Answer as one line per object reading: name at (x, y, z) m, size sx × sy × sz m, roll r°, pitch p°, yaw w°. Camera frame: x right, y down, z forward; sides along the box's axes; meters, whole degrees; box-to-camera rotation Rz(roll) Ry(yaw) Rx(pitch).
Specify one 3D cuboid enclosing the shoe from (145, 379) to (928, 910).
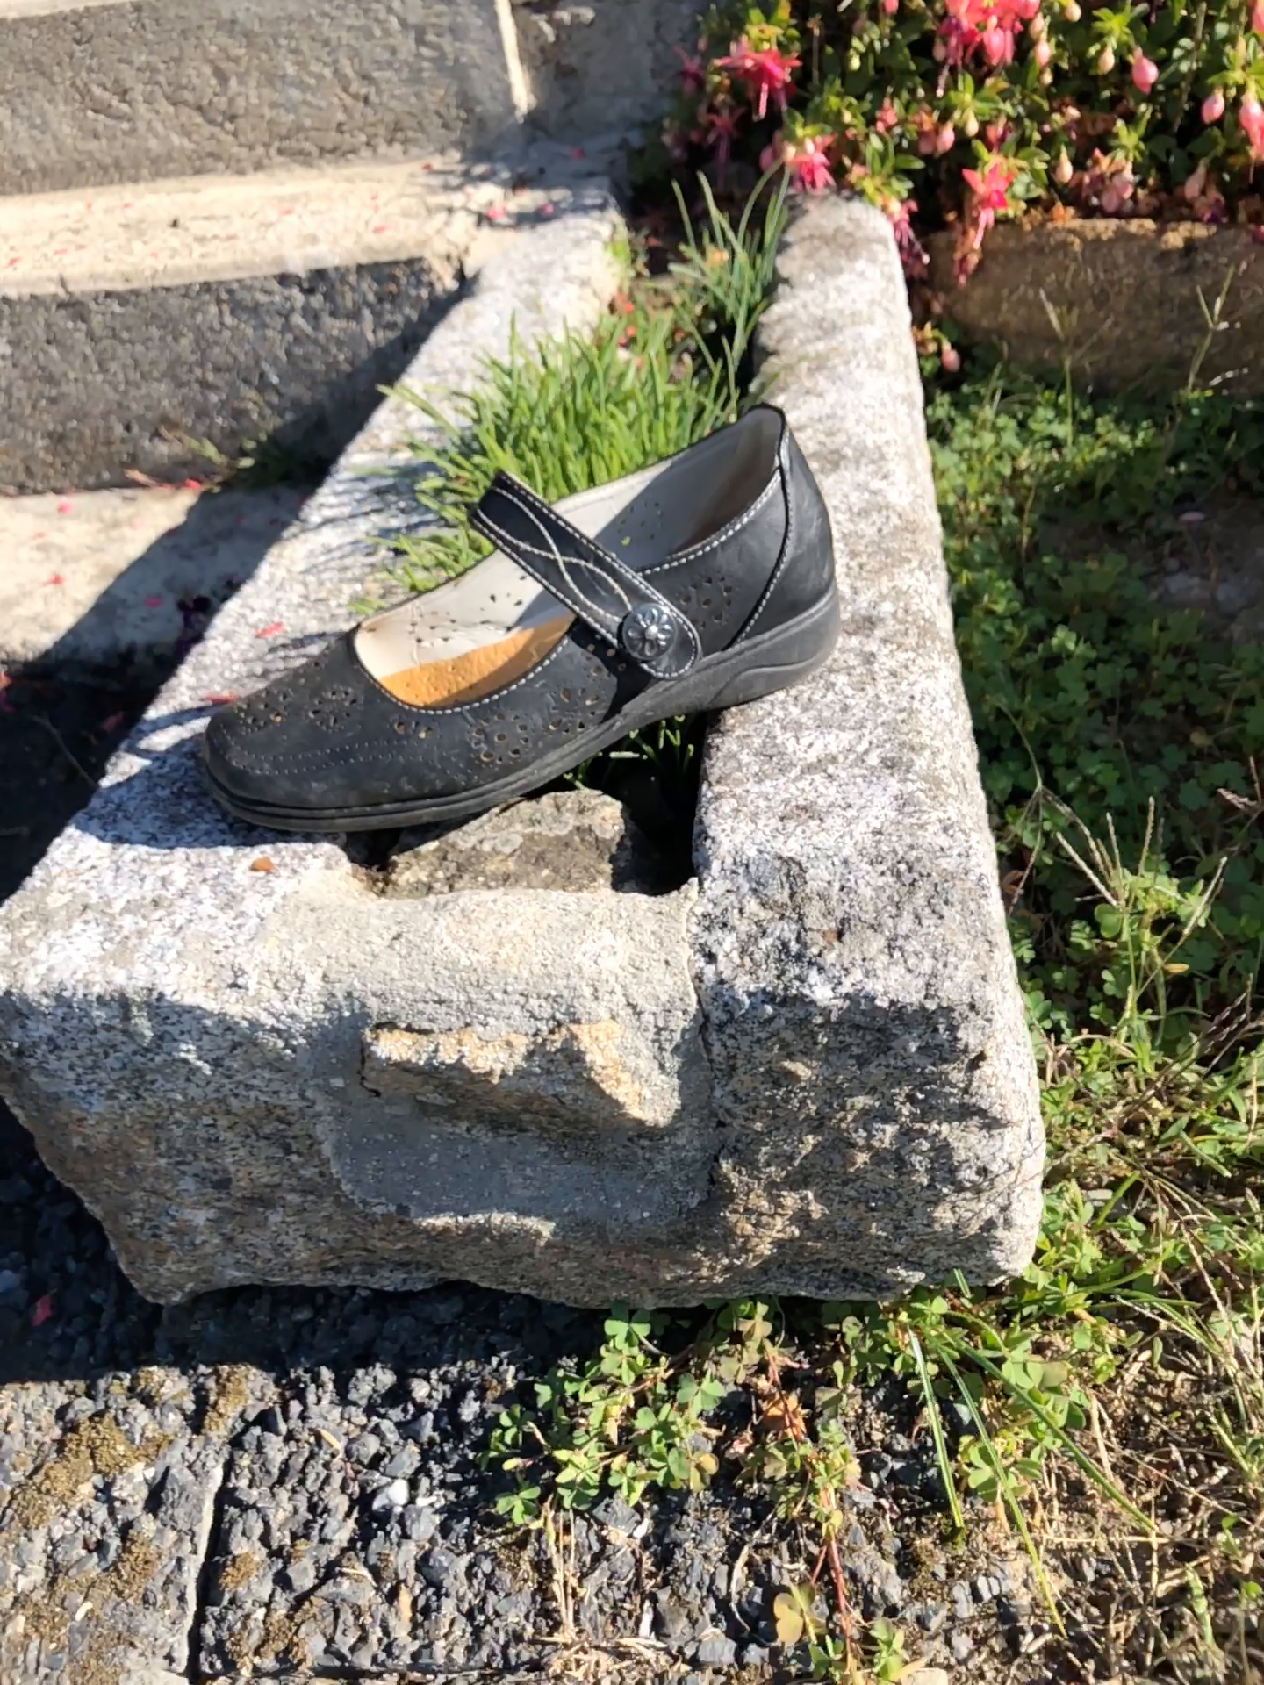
shoe at (-0.031, -0.078, 0.504) m, size 0.250 × 0.099 × 0.100 m, roll -16°, pitch 37°, yaw -12°
